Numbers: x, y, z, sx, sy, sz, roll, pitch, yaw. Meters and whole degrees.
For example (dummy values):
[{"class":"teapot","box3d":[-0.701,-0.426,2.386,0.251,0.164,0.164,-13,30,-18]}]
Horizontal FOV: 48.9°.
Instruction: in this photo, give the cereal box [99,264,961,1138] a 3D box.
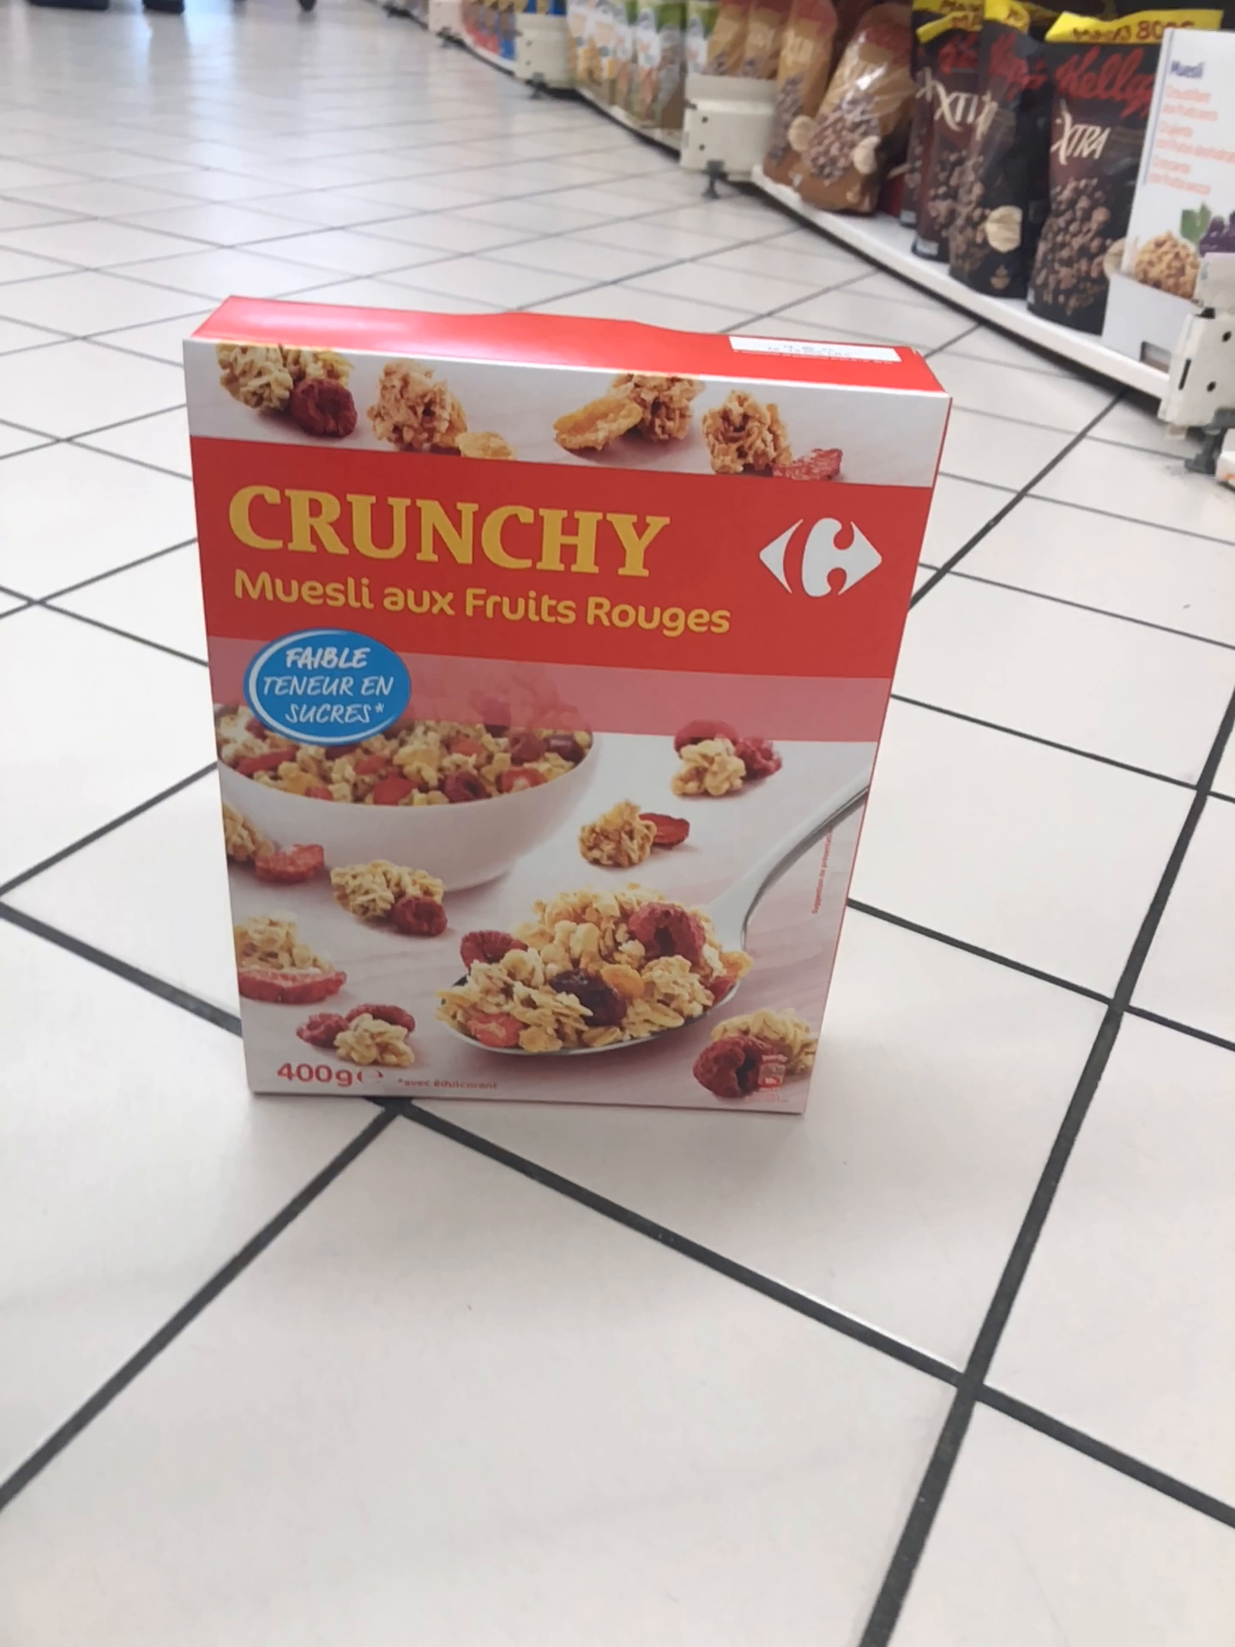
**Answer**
[{"class":"cereal box","box3d":[-0.029,-0.021,0.407,0.200,0.248,0.060,3,32,-4]}]
